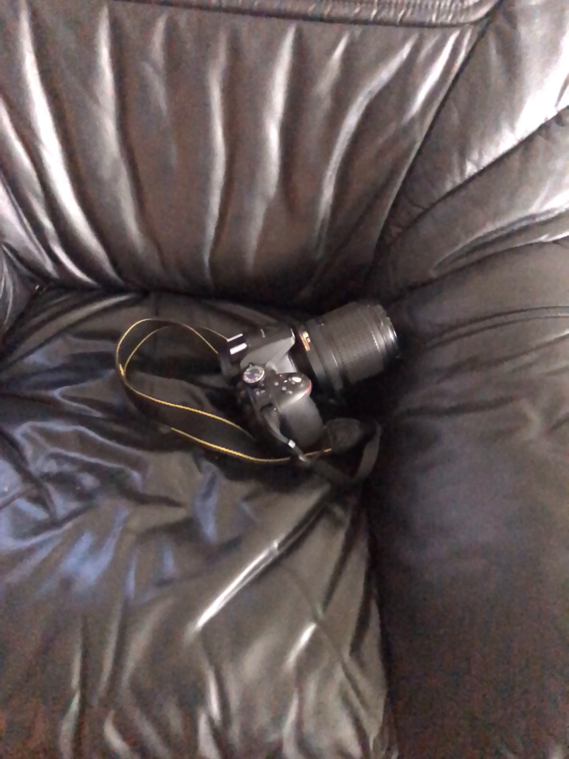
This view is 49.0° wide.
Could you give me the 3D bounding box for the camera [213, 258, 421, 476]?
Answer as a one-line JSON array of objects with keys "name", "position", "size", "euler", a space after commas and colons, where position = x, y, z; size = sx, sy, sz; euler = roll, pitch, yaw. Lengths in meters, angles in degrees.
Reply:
[{"name": "camera", "position": [0.037, -0.014, 0.694], "size": [0.170, 0.130, 0.140], "euler": [-23, 48, -1]}]
